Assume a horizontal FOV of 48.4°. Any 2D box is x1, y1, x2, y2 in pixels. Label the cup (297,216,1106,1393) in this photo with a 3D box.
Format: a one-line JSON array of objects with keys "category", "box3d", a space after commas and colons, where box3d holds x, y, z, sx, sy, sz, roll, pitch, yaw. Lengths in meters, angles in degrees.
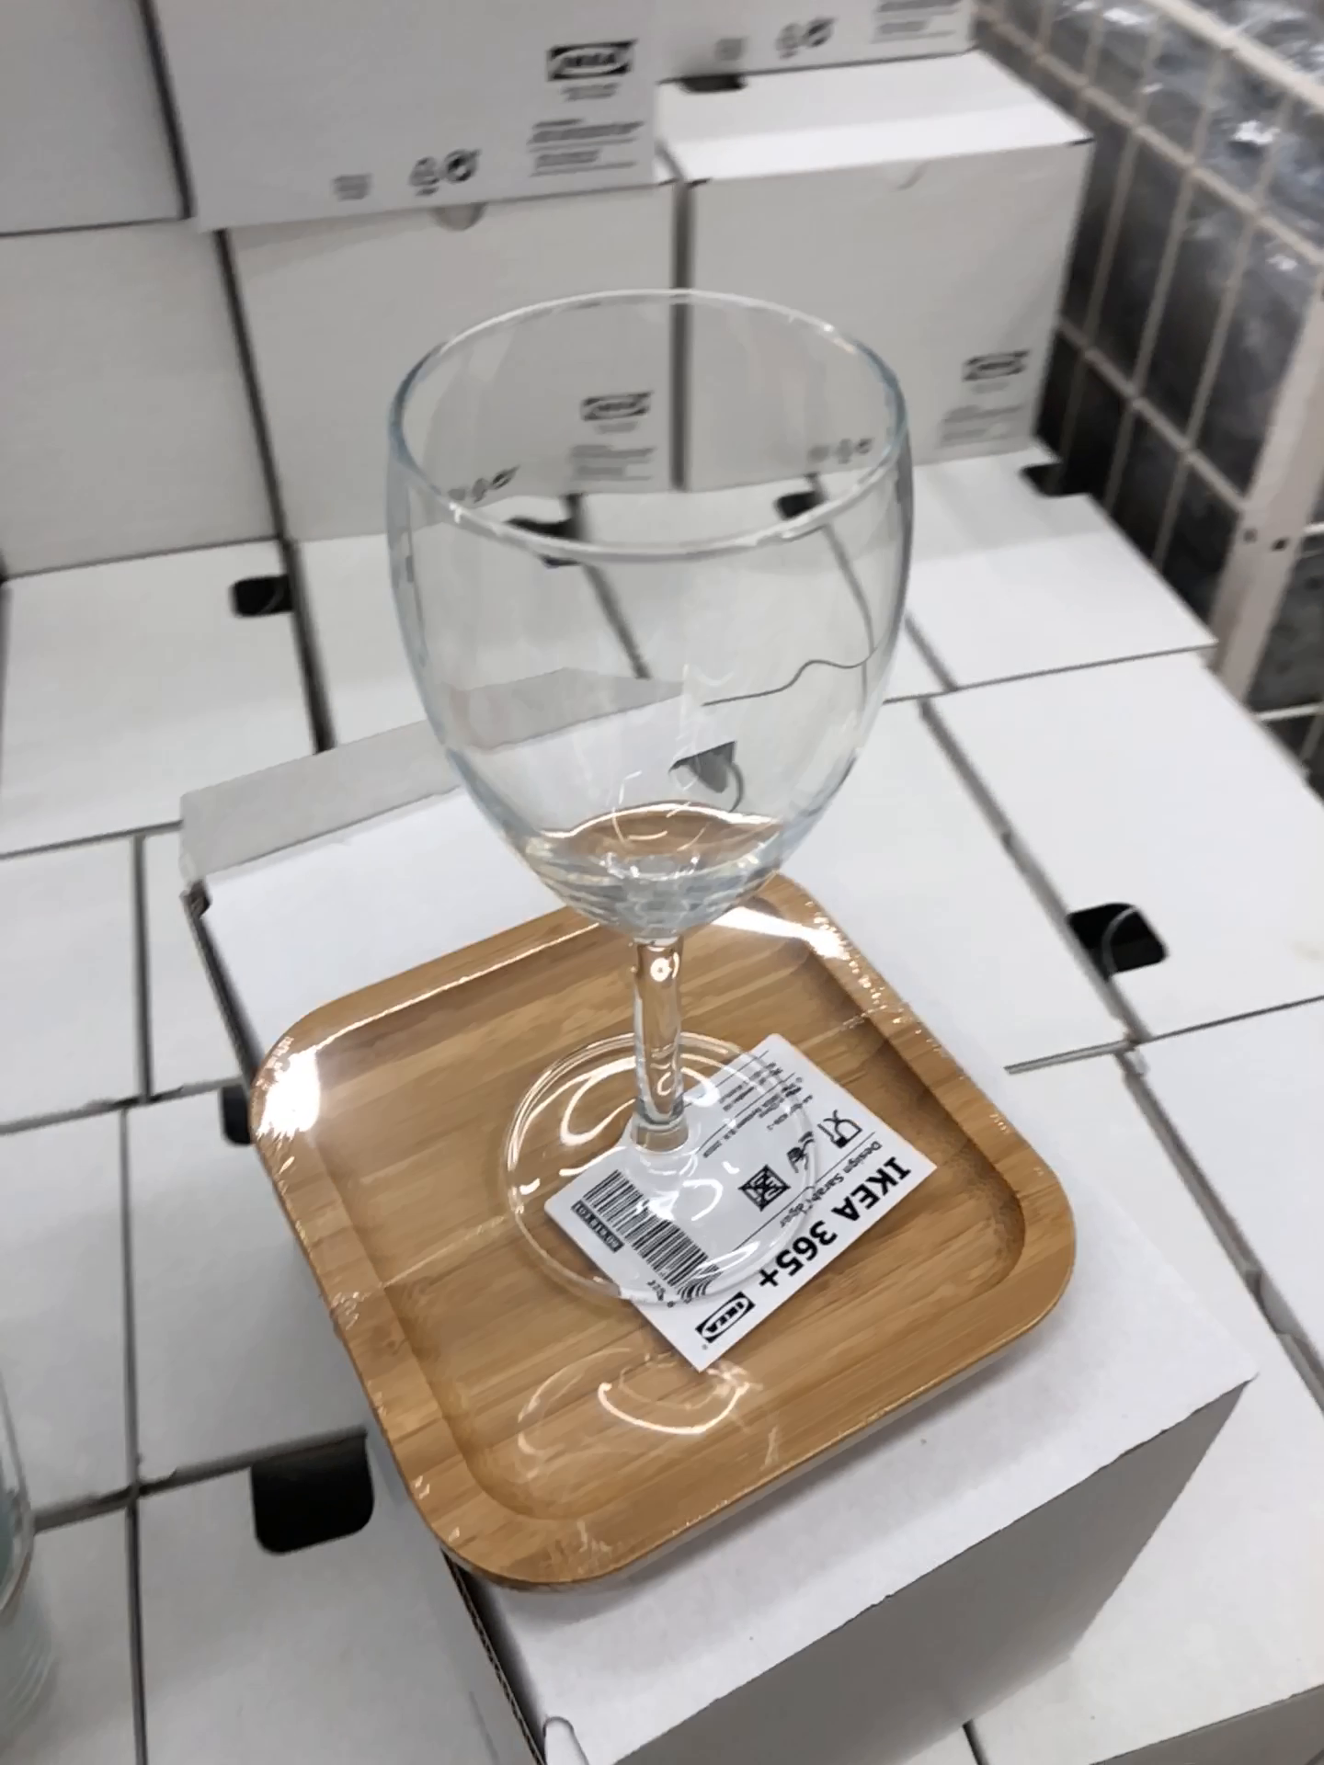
[{"category": "cup", "box3d": [0.000, -0.002, 0.252, 0.080, 0.179, 0.080, 0, 46, 0]}]
